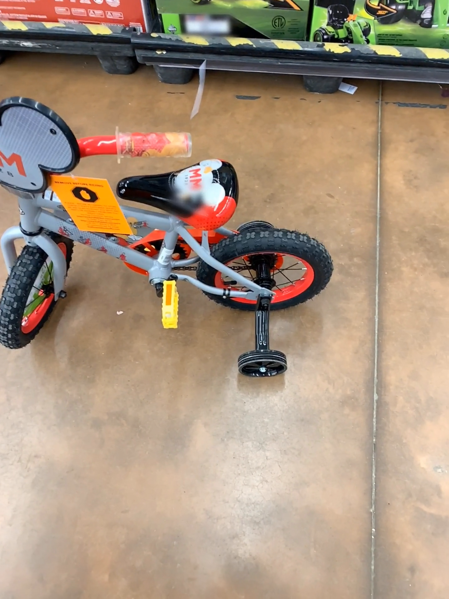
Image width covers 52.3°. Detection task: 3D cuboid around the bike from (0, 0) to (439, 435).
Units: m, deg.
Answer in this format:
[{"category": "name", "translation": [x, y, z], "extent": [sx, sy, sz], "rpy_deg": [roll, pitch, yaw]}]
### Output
[{"category": "bike", "translation": [-0.145, -0.130, 0.820], "extent": [0.640, 0.690, 0.453], "rpy_deg": [-9, 59, 2]}]
